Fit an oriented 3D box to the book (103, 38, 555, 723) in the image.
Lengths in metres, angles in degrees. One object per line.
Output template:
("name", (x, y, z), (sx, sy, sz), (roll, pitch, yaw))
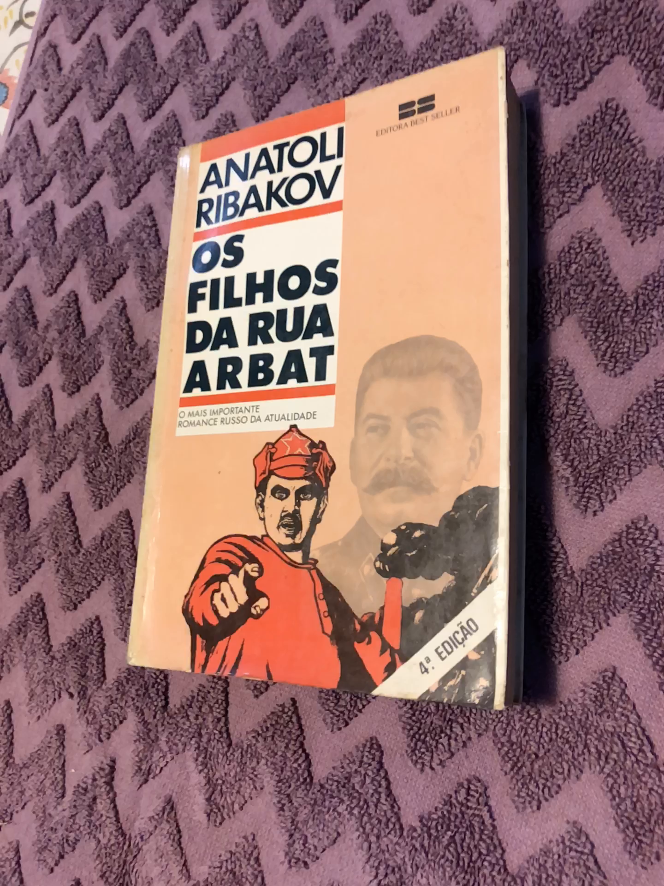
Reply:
("book", (-0.004, -0.017, 0.250), (0.140, 0.040, 0.190), (-4, 79, 27))
